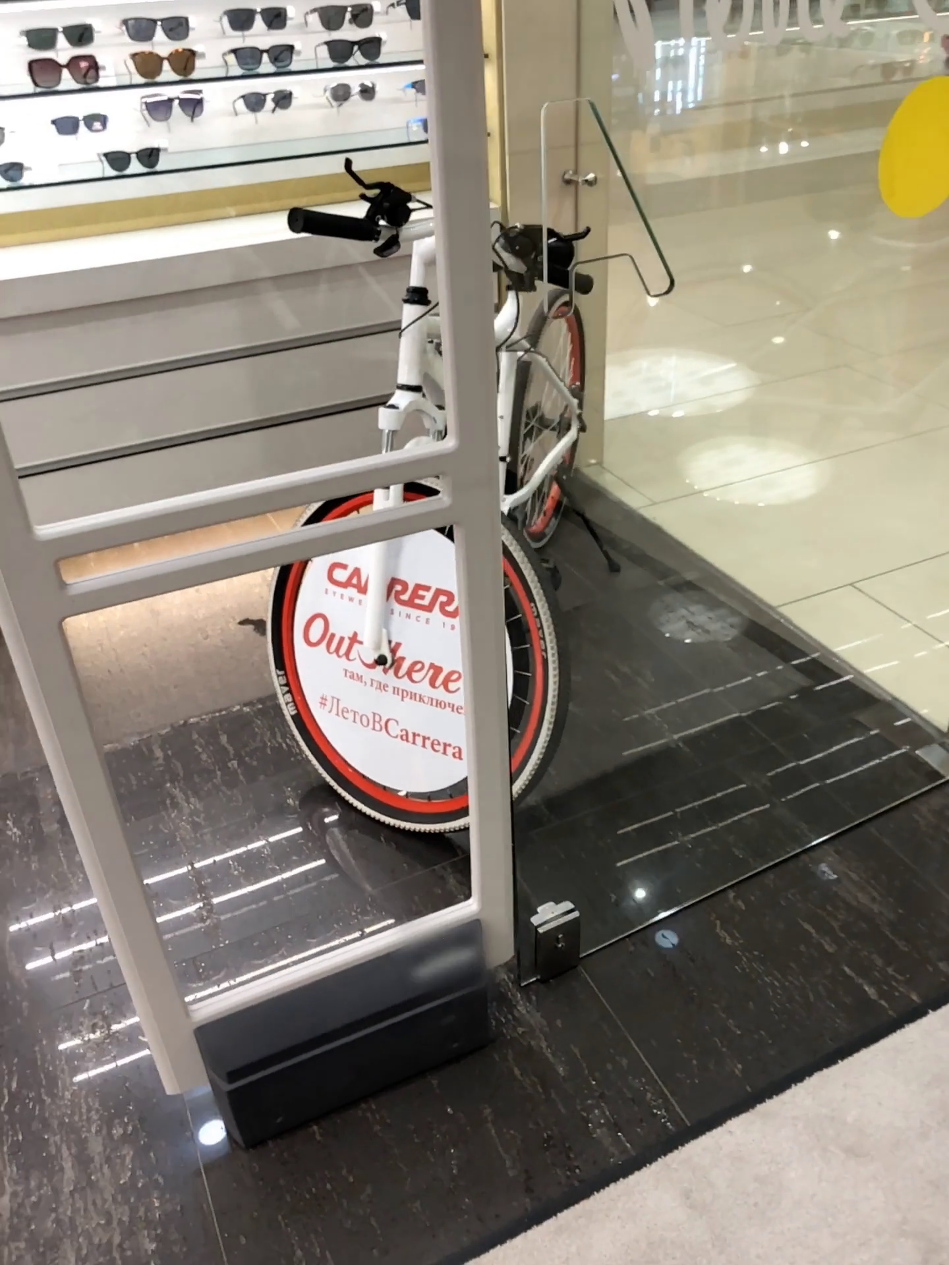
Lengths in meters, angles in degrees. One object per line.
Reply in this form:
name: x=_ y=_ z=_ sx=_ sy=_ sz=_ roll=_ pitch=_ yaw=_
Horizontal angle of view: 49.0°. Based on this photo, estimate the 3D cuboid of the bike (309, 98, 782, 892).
bike: x=0.171 y=-0.398 z=2.098 sx=0.592 sy=0.947 sz=1.389 roll=1 pitch=35 yaw=7
